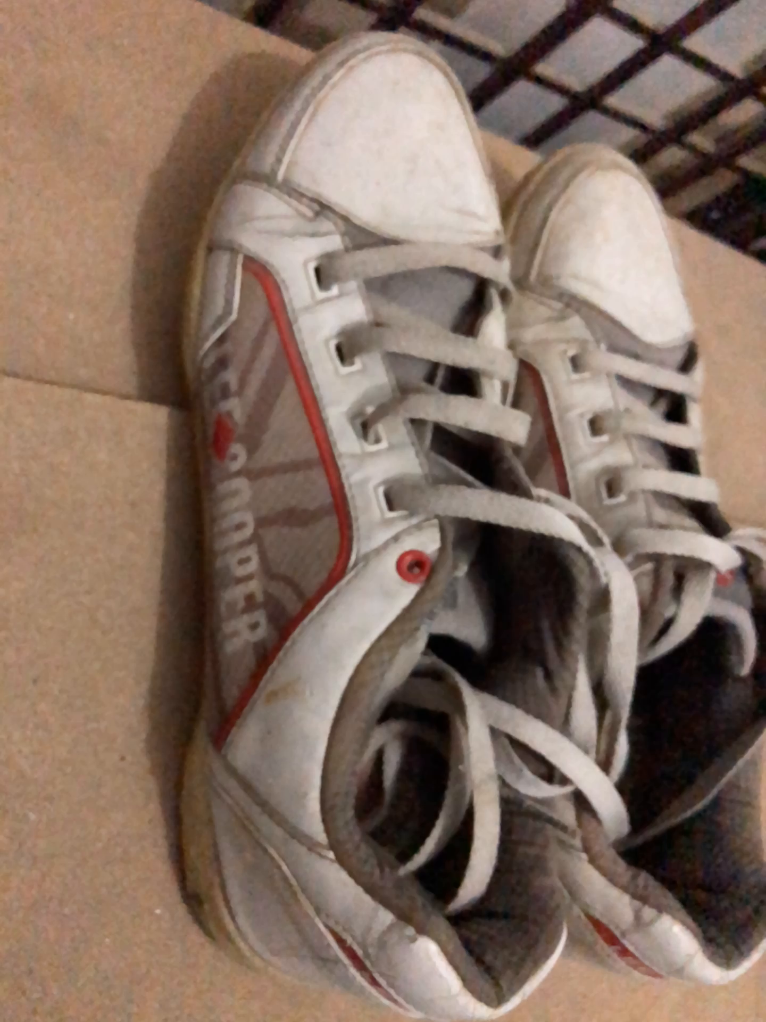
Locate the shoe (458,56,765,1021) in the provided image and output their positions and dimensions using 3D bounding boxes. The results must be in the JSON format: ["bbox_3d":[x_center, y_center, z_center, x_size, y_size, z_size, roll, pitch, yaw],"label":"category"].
[{"bbox_3d":[0.095,0.005,0.294,0.100,0.080,0.270,9,73,-35],"label":"shoe"}]

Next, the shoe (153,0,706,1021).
[{"bbox_3d":[0.007,-0.015,0.234,0.100,0.080,0.270,9,73,-35],"label":"shoe"}]
